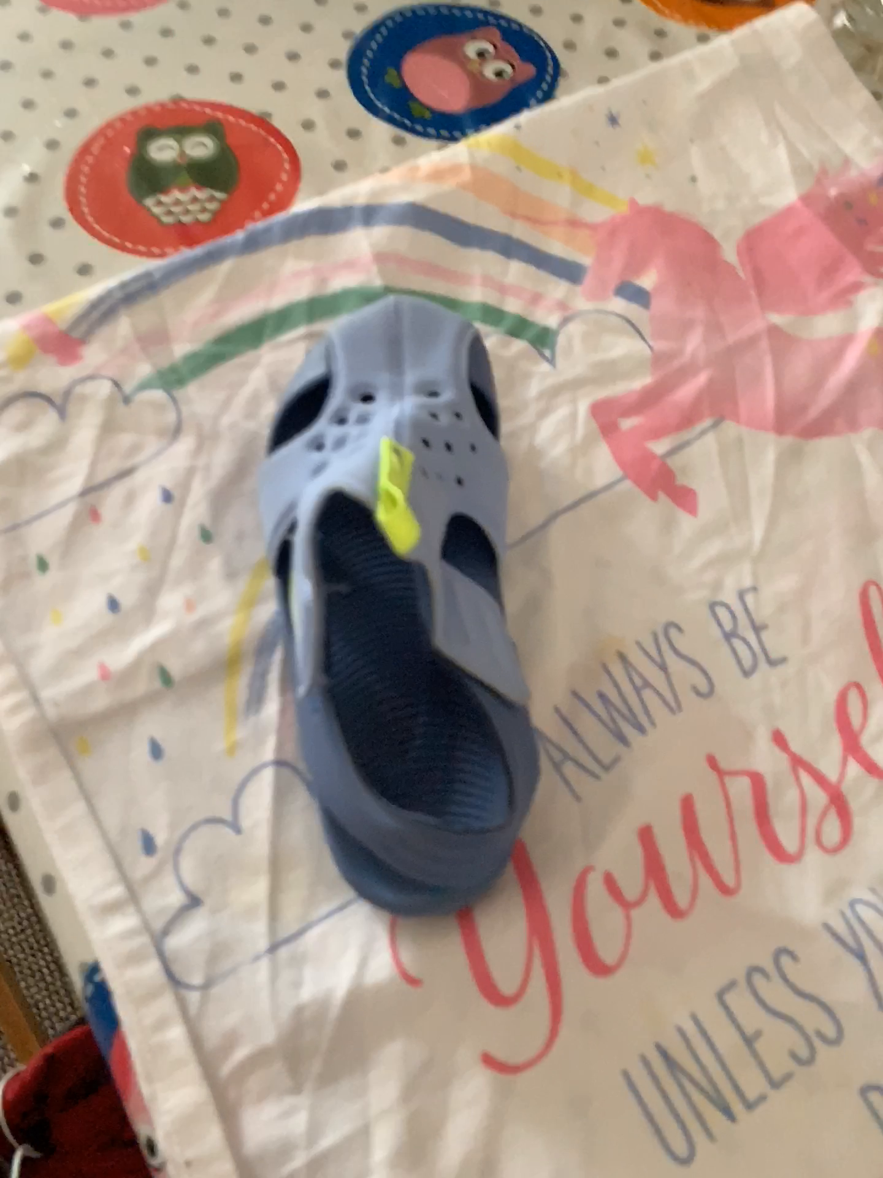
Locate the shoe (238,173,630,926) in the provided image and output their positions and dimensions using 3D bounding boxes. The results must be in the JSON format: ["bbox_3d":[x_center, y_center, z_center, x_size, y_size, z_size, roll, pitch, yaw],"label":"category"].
[{"bbox_3d":[-0.011,-0.014,0.286,0.086,0.090,0.217,-5,67,-3],"label":"shoe"}]
